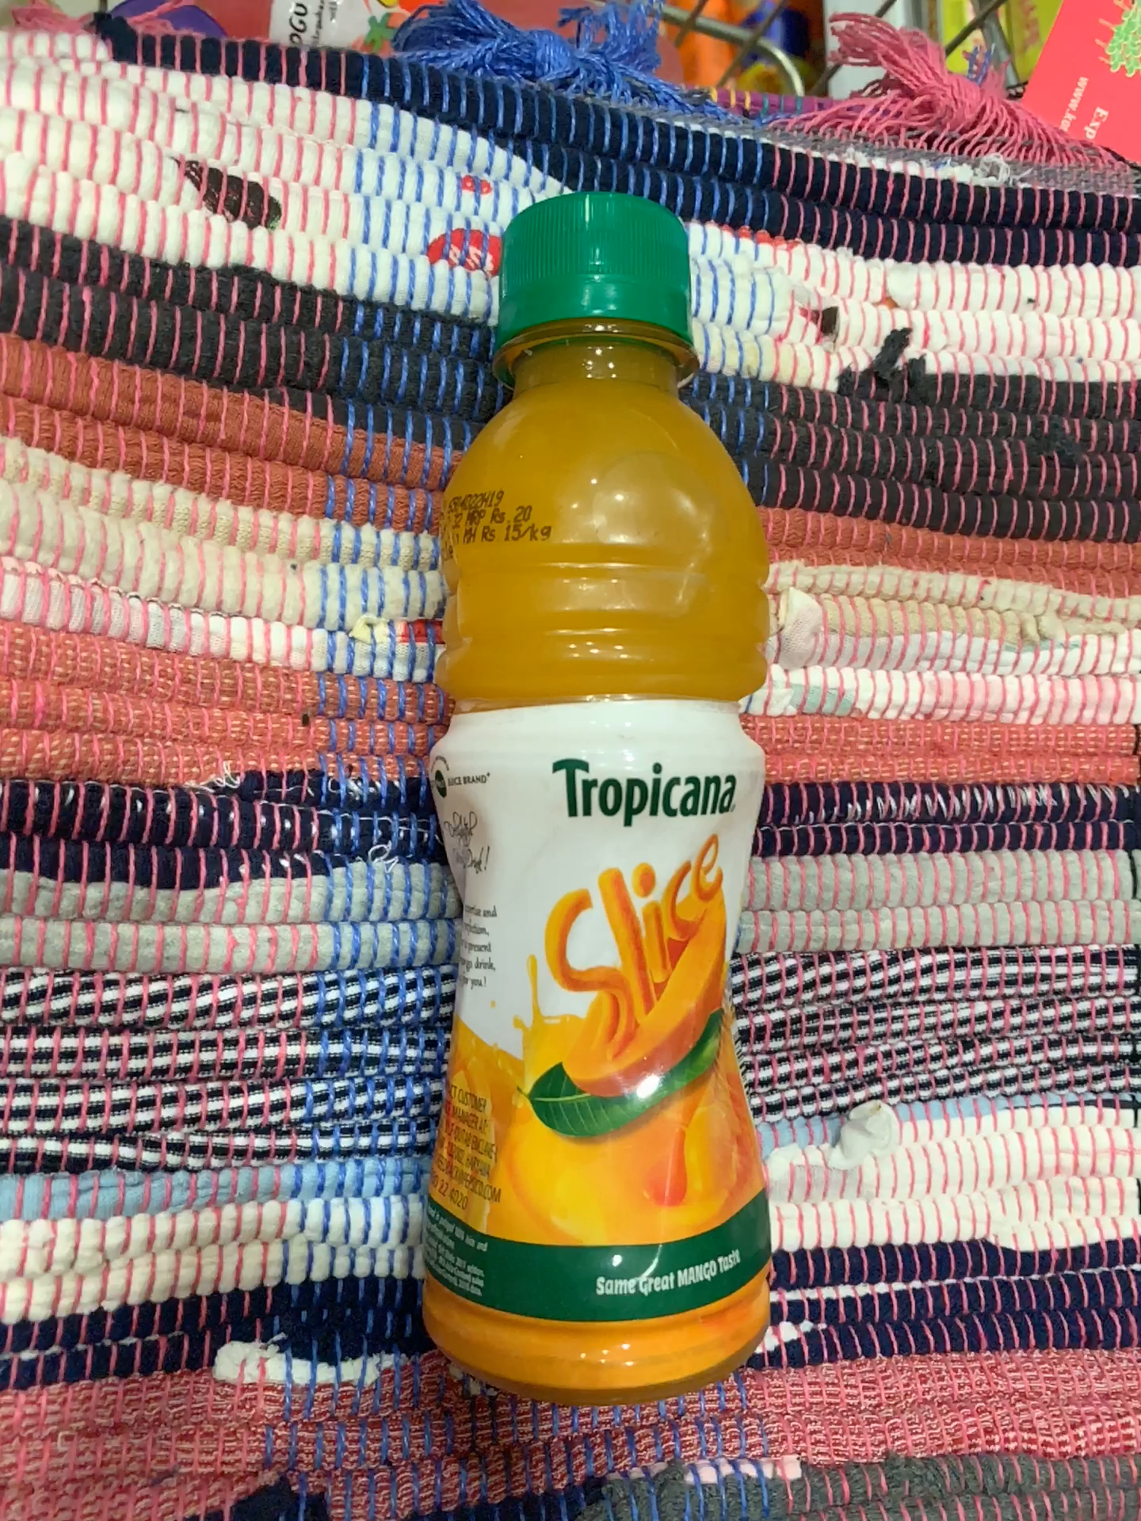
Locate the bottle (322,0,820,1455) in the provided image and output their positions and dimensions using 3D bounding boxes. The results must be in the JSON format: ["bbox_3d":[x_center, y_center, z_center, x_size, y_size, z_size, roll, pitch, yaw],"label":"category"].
[{"bbox_3d":[-0.003,-0.008,0.185,0.060,0.050,0.190,2,84,-21],"label":"bottle"}]
